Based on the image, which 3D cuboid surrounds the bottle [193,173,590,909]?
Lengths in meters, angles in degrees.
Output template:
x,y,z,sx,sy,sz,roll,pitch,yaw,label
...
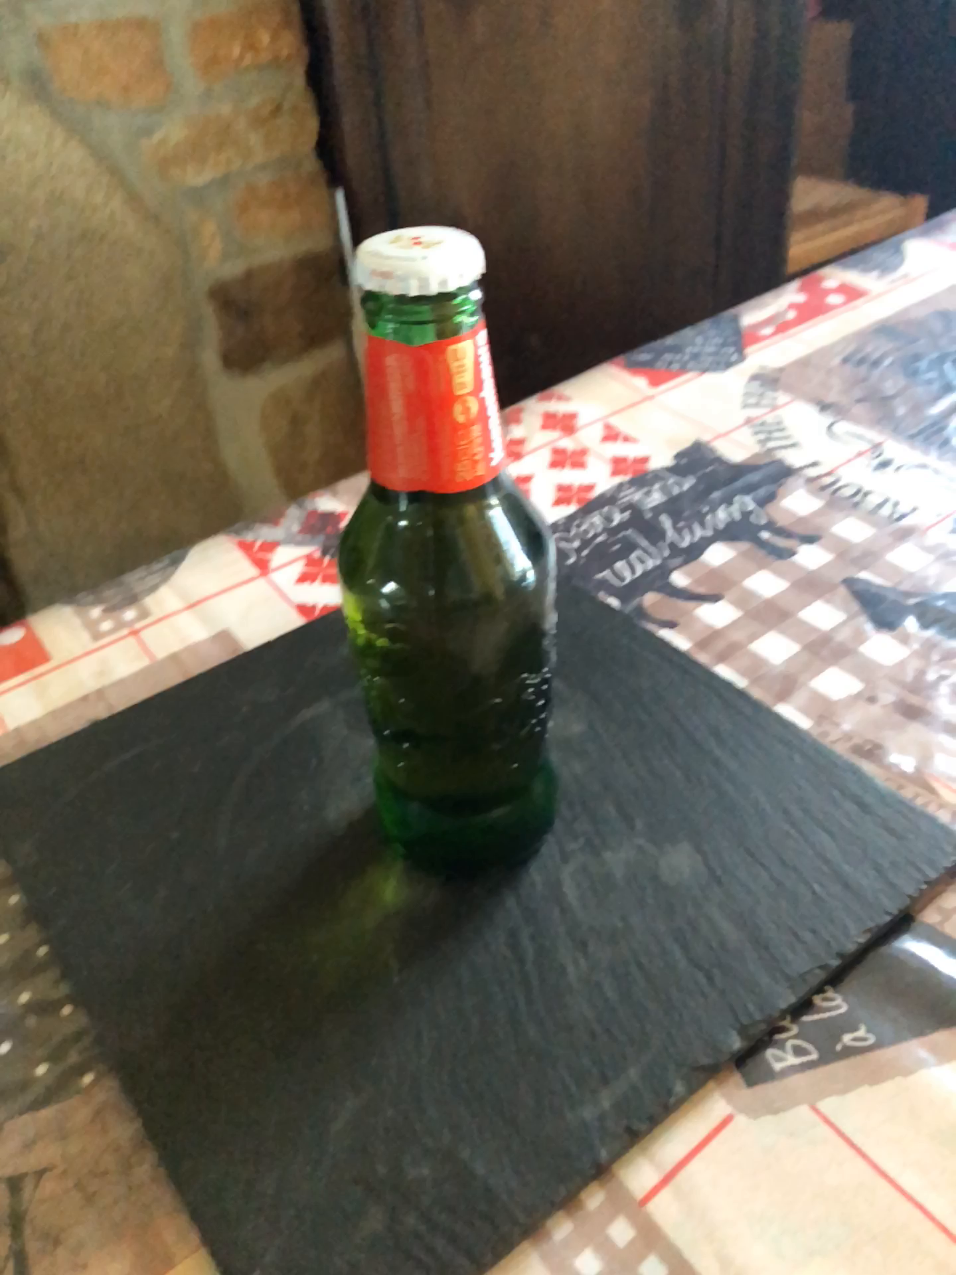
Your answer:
x,y,z,sx,sy,sz,roll,pitch,yaw,label
-0.012,-0.019,0.283,0.060,0.179,0.060,-3,37,3,bottle
